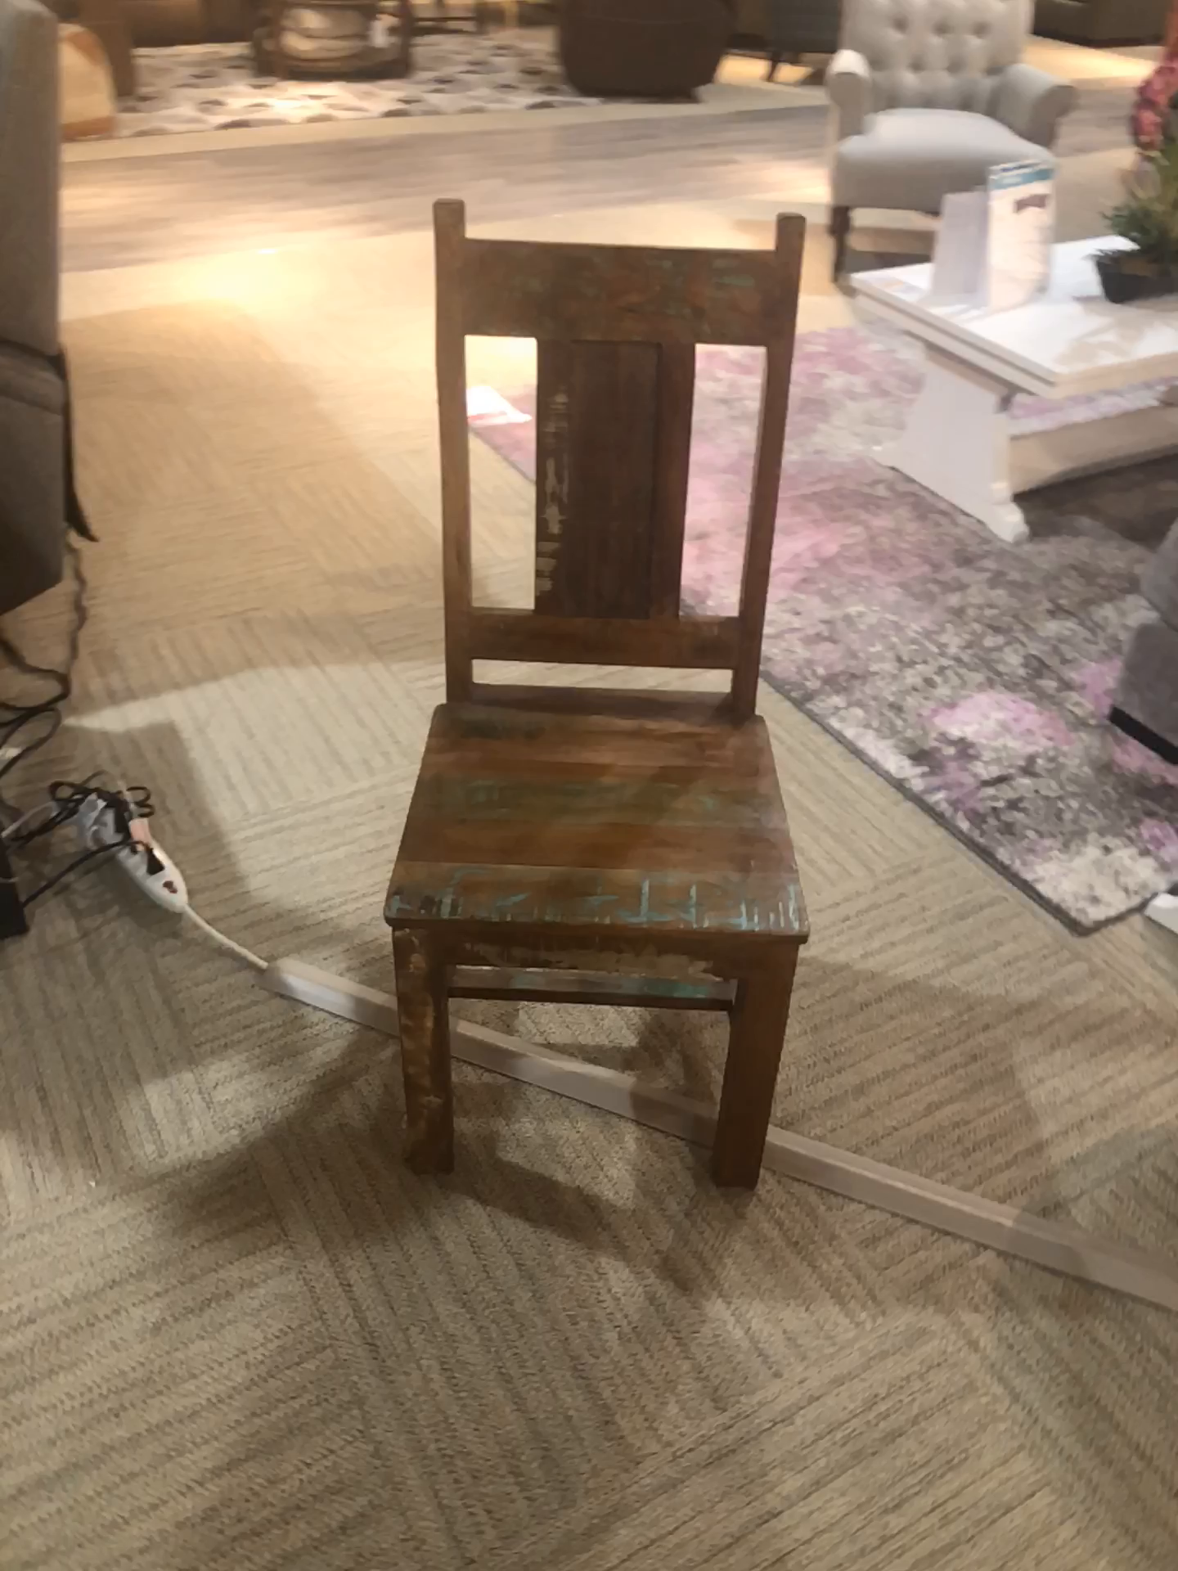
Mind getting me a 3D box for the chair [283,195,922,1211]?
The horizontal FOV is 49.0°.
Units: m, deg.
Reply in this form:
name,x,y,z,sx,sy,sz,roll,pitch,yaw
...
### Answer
name,x,y,z,sx,sy,sz,roll,pitch,yaw
chair,0.005,-0.053,1.473,0.476,1.024,0.513,2,37,1
